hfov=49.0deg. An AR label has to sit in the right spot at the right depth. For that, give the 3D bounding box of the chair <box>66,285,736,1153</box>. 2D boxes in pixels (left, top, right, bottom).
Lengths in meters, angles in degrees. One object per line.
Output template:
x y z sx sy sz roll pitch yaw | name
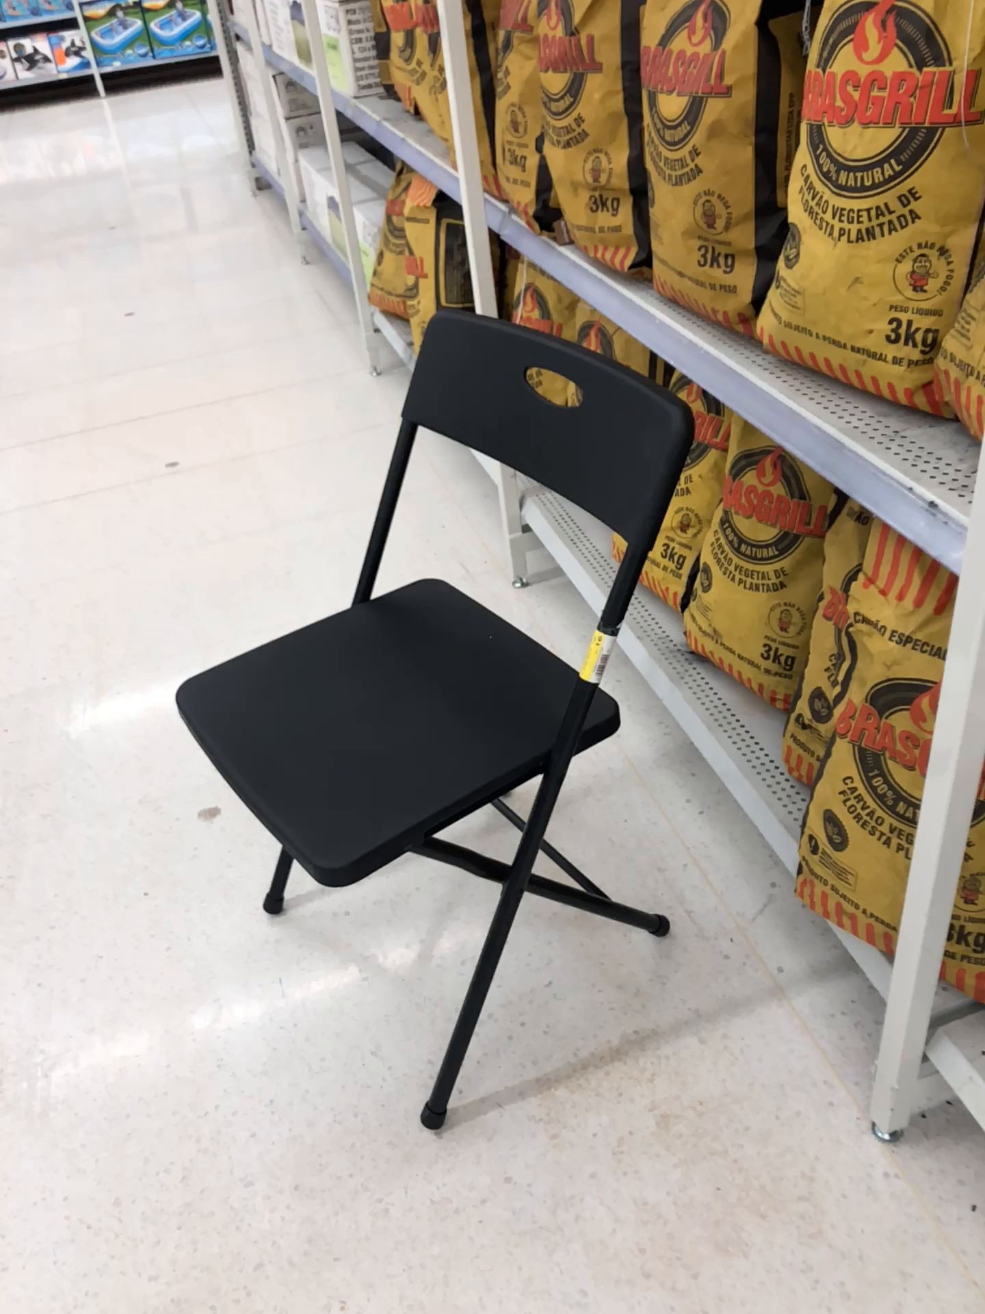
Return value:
-0.066 0.049 1.206 0.451 0.715 0.462 -27 40 -25 | chair
